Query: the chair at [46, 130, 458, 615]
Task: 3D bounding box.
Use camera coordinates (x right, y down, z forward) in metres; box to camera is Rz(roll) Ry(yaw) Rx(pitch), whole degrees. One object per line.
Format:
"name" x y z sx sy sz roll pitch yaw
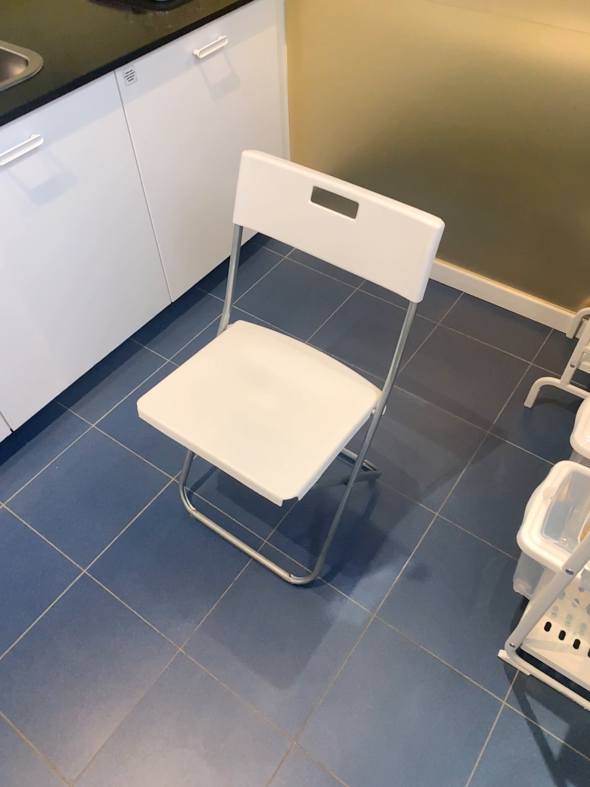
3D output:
"chair" -0.047 -0.004 1.169 0.441 0.748 0.421 29 57 23
